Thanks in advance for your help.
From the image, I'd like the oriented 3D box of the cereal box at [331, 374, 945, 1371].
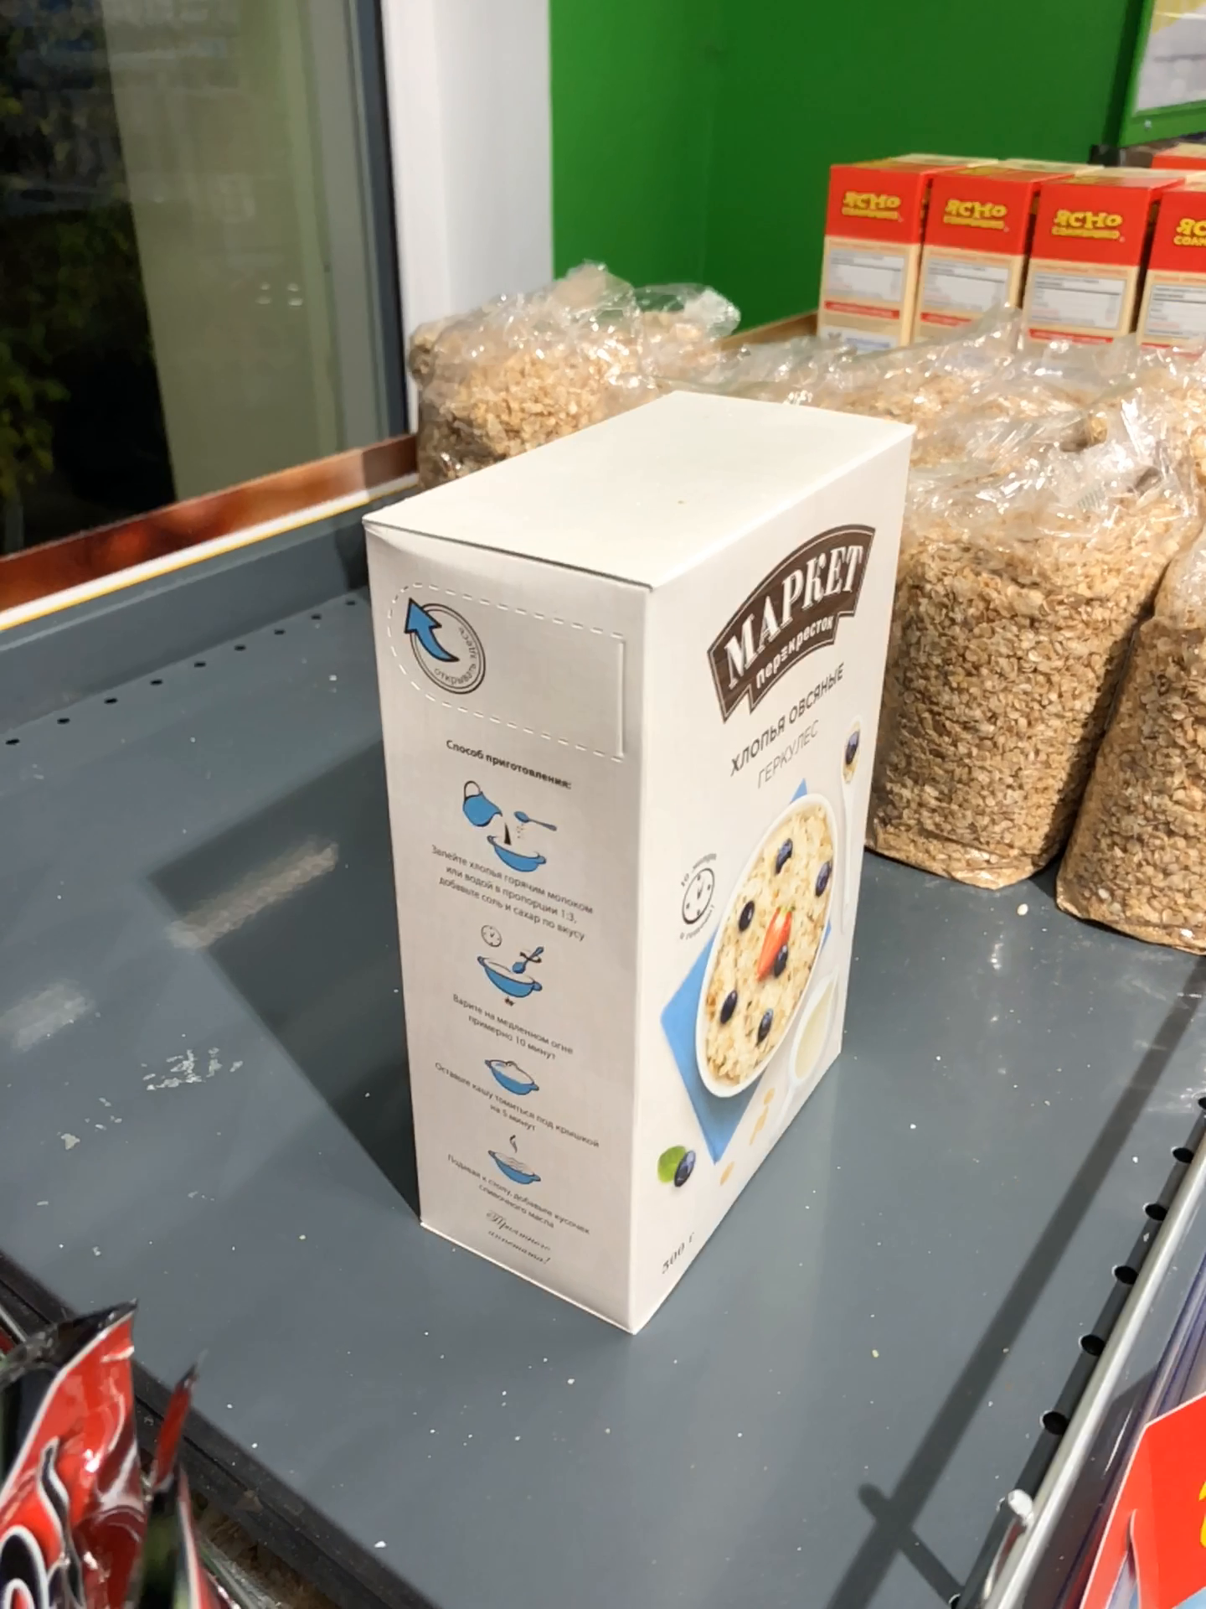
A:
[{"bbox_3d":[0.014,0.010,0.322,0.070,0.189,0.131,17,34,27],"label":"cereal box"}]
